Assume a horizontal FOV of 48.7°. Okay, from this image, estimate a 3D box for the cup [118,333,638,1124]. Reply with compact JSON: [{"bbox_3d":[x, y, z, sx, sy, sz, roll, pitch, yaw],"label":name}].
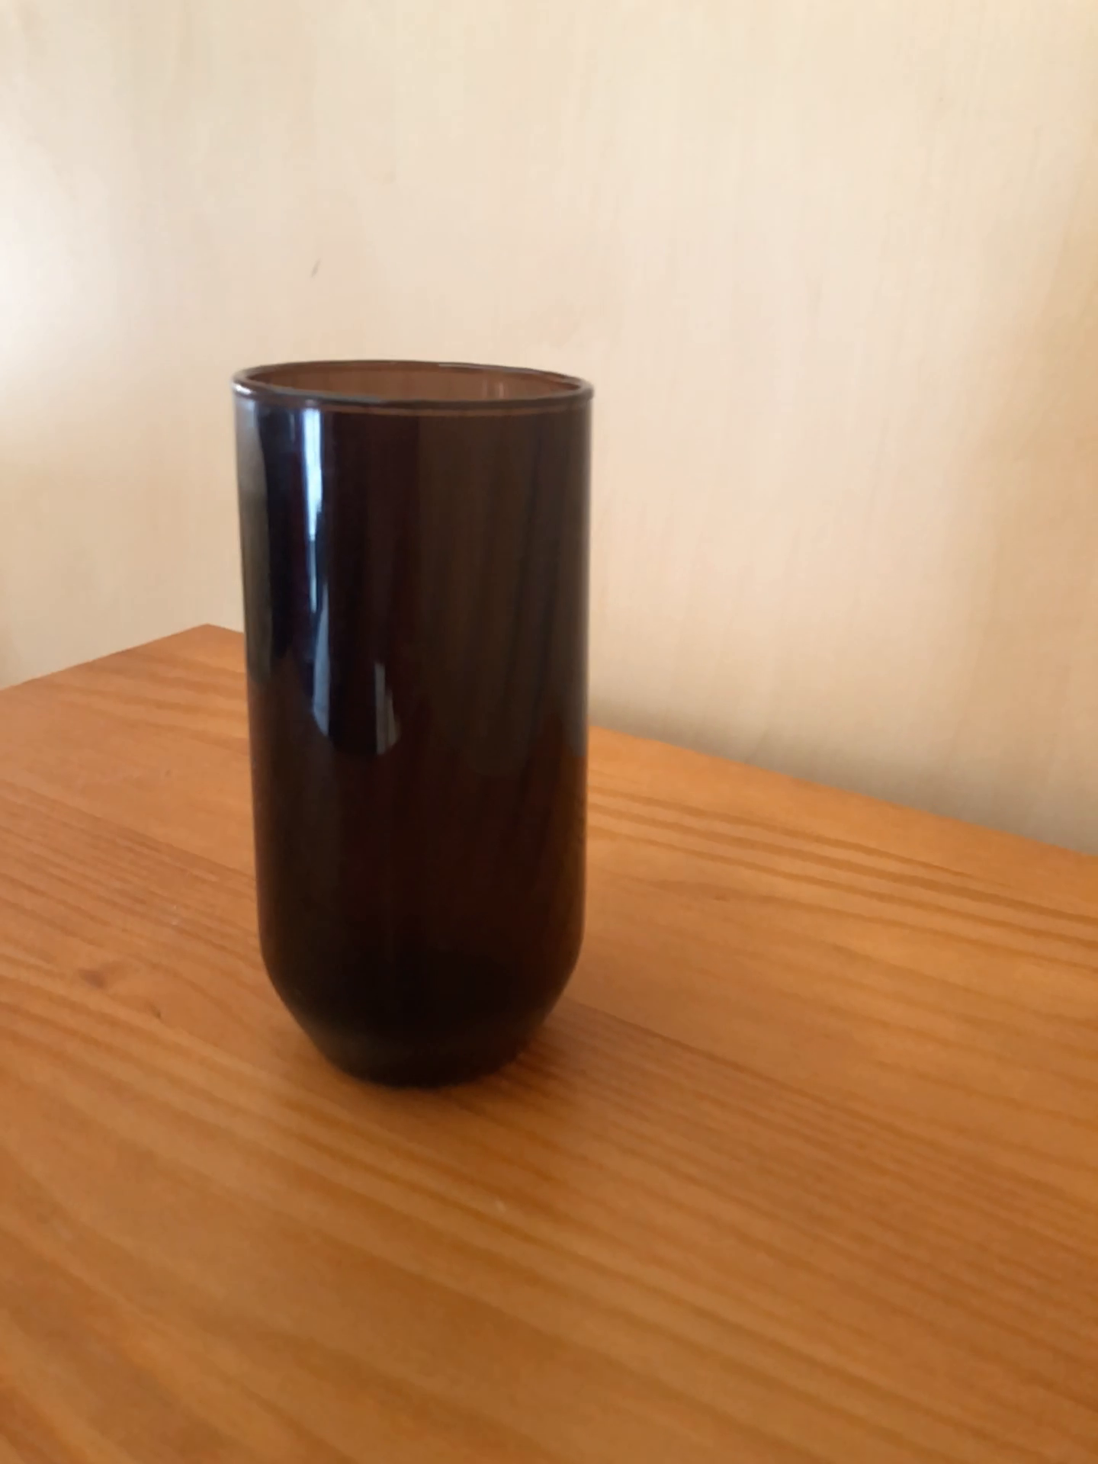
[{"bbox_3d":[-0.023,-0.005,0.205,0.060,0.112,0.062,2,22,-1],"label":"cup"}]
